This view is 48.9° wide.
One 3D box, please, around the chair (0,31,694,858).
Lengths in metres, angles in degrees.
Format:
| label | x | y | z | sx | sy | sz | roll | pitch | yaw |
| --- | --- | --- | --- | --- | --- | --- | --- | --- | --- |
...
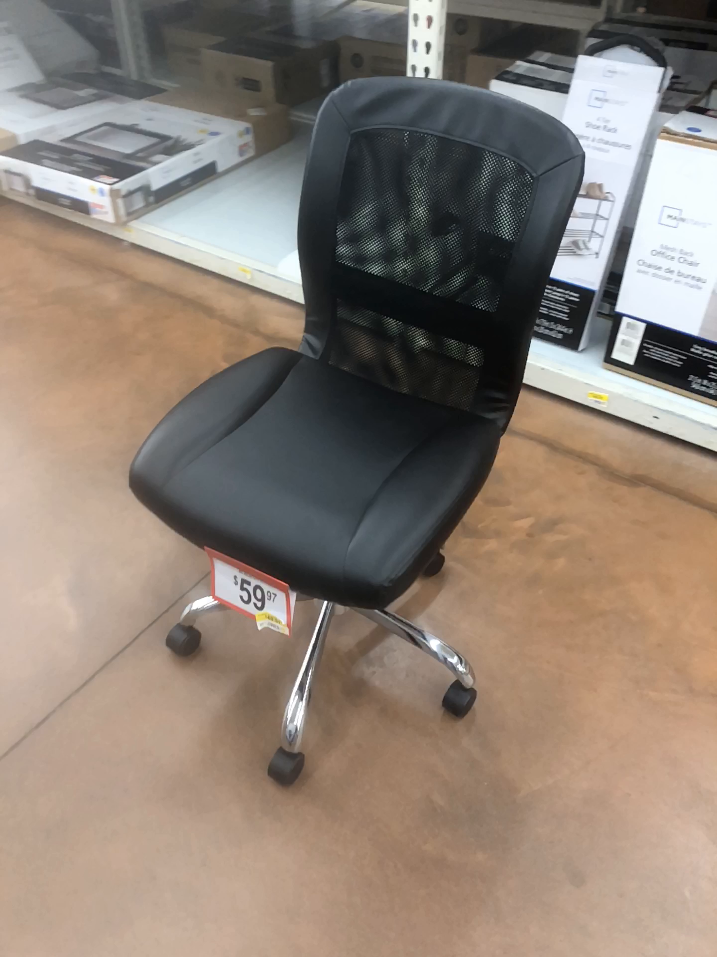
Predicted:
| label | x | y | z | sx | sy | sz | roll | pitch | yaw |
| --- | --- | --- | --- | --- | --- | --- | --- | --- | --- |
| chair | -0.056 | -0.093 | 1.159 | 0.681 | 0.817 | 0.652 | 23 | 46 | 25 |
